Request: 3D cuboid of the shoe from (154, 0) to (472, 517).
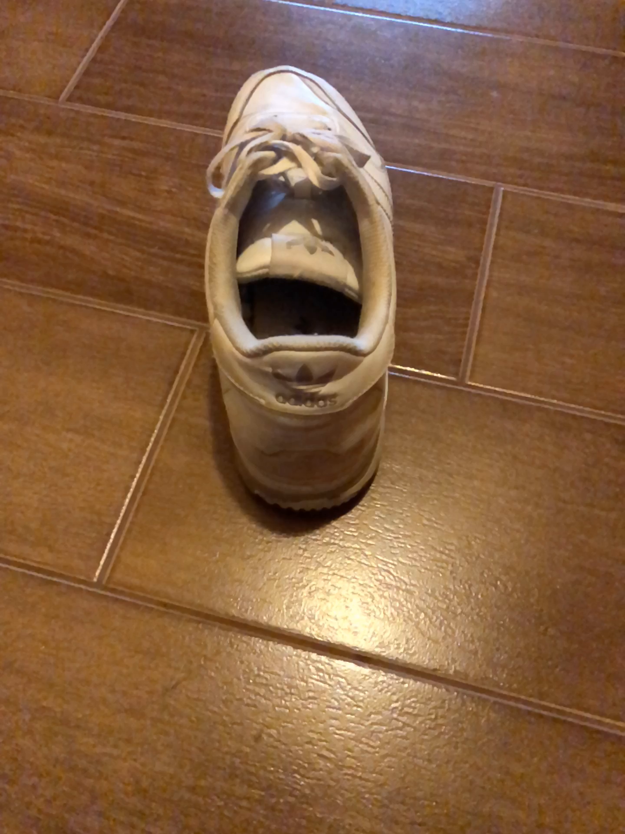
[{"bbox_3d":[-0.001,-0.102,0.353,0.104,0.139,0.271,0,62,-1],"label":"shoe"}]
